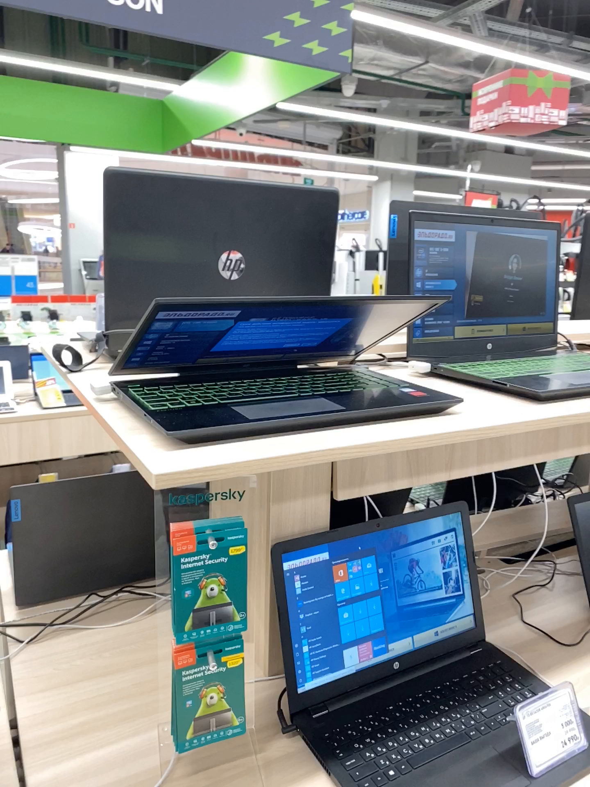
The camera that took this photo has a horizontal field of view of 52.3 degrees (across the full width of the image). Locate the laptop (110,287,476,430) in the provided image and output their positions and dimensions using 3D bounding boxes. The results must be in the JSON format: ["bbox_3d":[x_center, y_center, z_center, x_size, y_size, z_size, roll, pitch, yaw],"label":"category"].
[{"bbox_3d":[-0.010,-0.059,0.730,0.364,0.115,0.244,-4,14,-28],"label":"laptop"}]
